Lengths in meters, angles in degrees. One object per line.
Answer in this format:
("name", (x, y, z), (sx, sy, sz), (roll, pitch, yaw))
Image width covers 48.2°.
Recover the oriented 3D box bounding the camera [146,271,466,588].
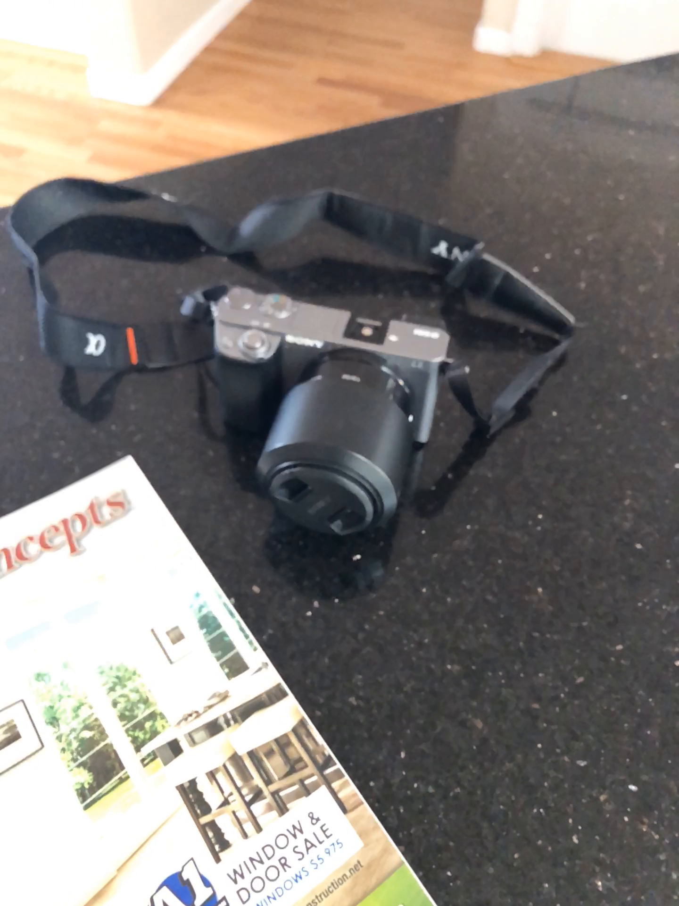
("camera", (-0.012, -0.012, 0.392), (0.127, 0.100, 0.100), (13, 53, 8))
